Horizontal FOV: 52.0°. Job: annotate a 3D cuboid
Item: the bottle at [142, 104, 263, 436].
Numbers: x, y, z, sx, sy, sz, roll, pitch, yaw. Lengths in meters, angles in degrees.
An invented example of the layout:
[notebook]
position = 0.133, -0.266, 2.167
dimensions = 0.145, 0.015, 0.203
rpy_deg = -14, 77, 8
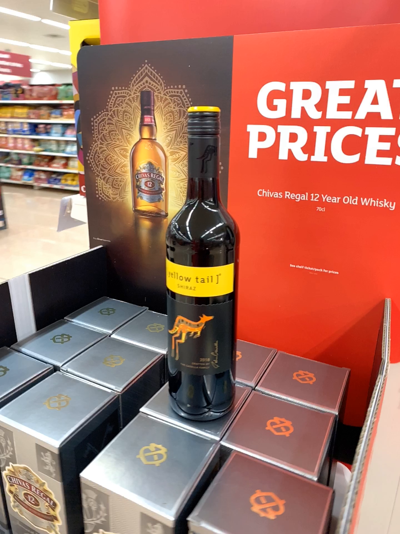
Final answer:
[bottle]
position = 0.002, 0.004, 0.407
dimensions = 0.077, 0.305, 0.081
rpy_deg = 1, 19, 0
